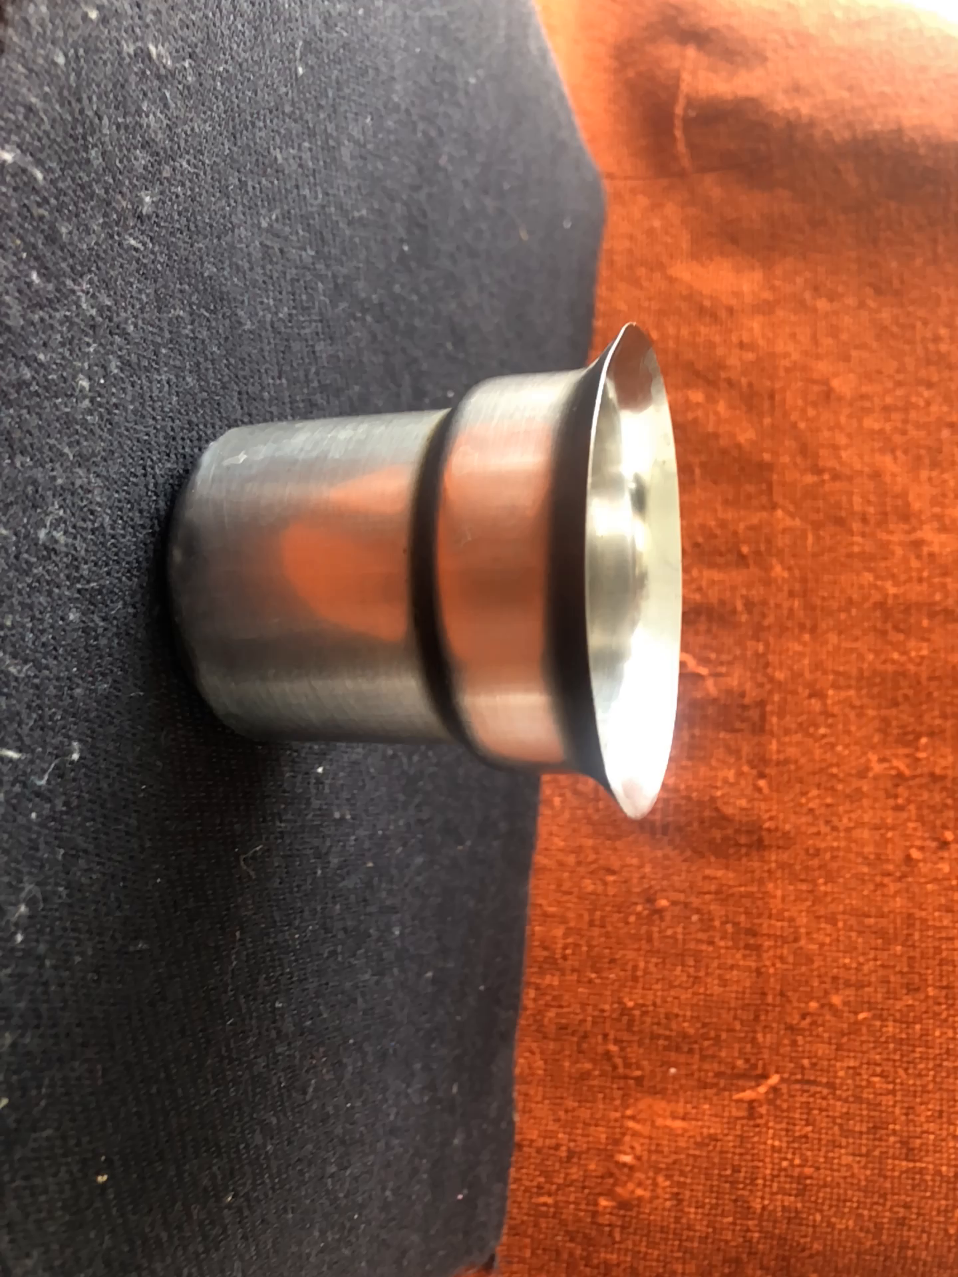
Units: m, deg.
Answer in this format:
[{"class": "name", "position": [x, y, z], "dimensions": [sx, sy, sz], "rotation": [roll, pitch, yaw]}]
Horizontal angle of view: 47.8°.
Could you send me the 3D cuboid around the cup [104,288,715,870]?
[{"class": "cup", "position": [-0.003, -0.003, 0.174], "dimensions": [0.070, 0.070, 0.070], "rotation": [1, 90, -72]}]
